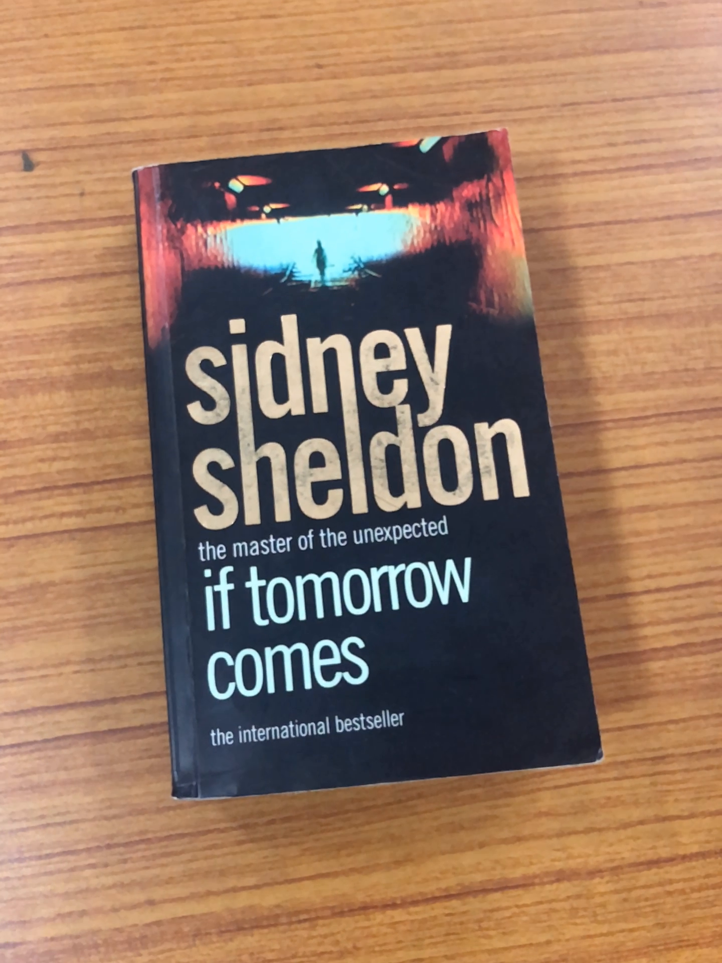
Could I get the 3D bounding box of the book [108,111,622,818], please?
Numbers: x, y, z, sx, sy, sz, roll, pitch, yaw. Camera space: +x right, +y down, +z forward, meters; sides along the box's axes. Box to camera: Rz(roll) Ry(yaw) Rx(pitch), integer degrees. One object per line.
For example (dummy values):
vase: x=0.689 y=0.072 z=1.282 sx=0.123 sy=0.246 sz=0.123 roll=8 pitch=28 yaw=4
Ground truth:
book: x=-0.004 y=-0.009 z=0.227 sx=0.114 sy=0.034 sz=0.176 roll=-6 pitch=80 yaw=-2
